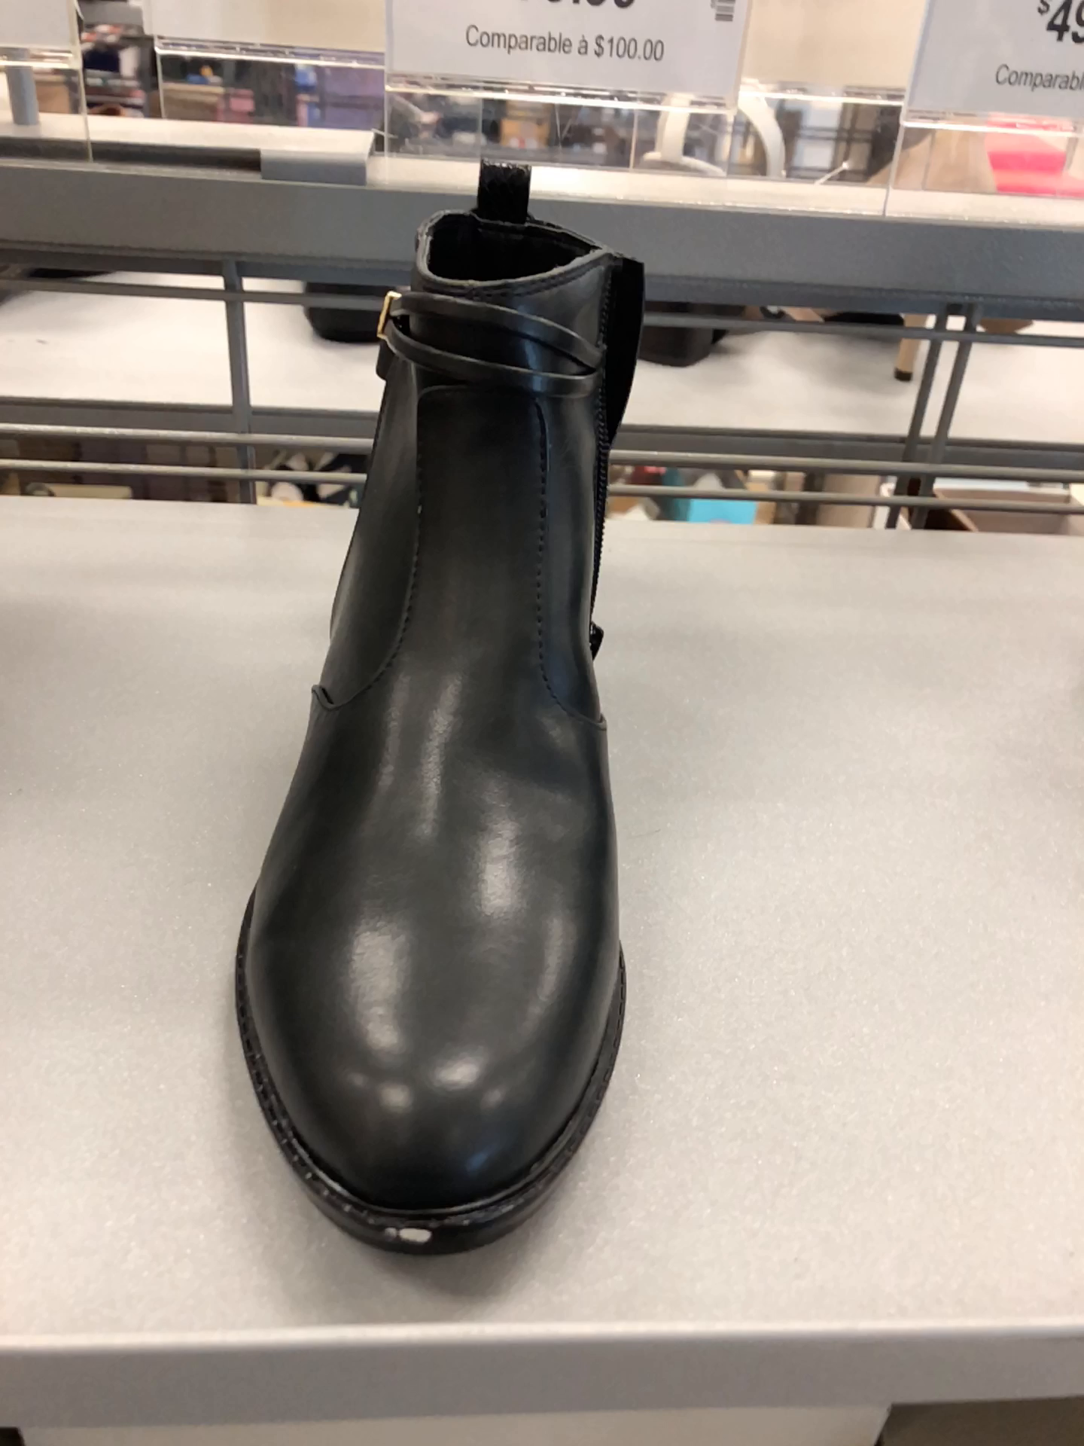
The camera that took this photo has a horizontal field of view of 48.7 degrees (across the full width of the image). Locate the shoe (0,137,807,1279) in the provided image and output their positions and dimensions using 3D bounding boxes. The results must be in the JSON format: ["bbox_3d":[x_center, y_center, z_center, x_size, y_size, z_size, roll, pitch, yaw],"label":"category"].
[{"bbox_3d":[-0.021,-0.028,0.271,0.090,0.149,0.232,3,34,-3],"label":"shoe"}]
